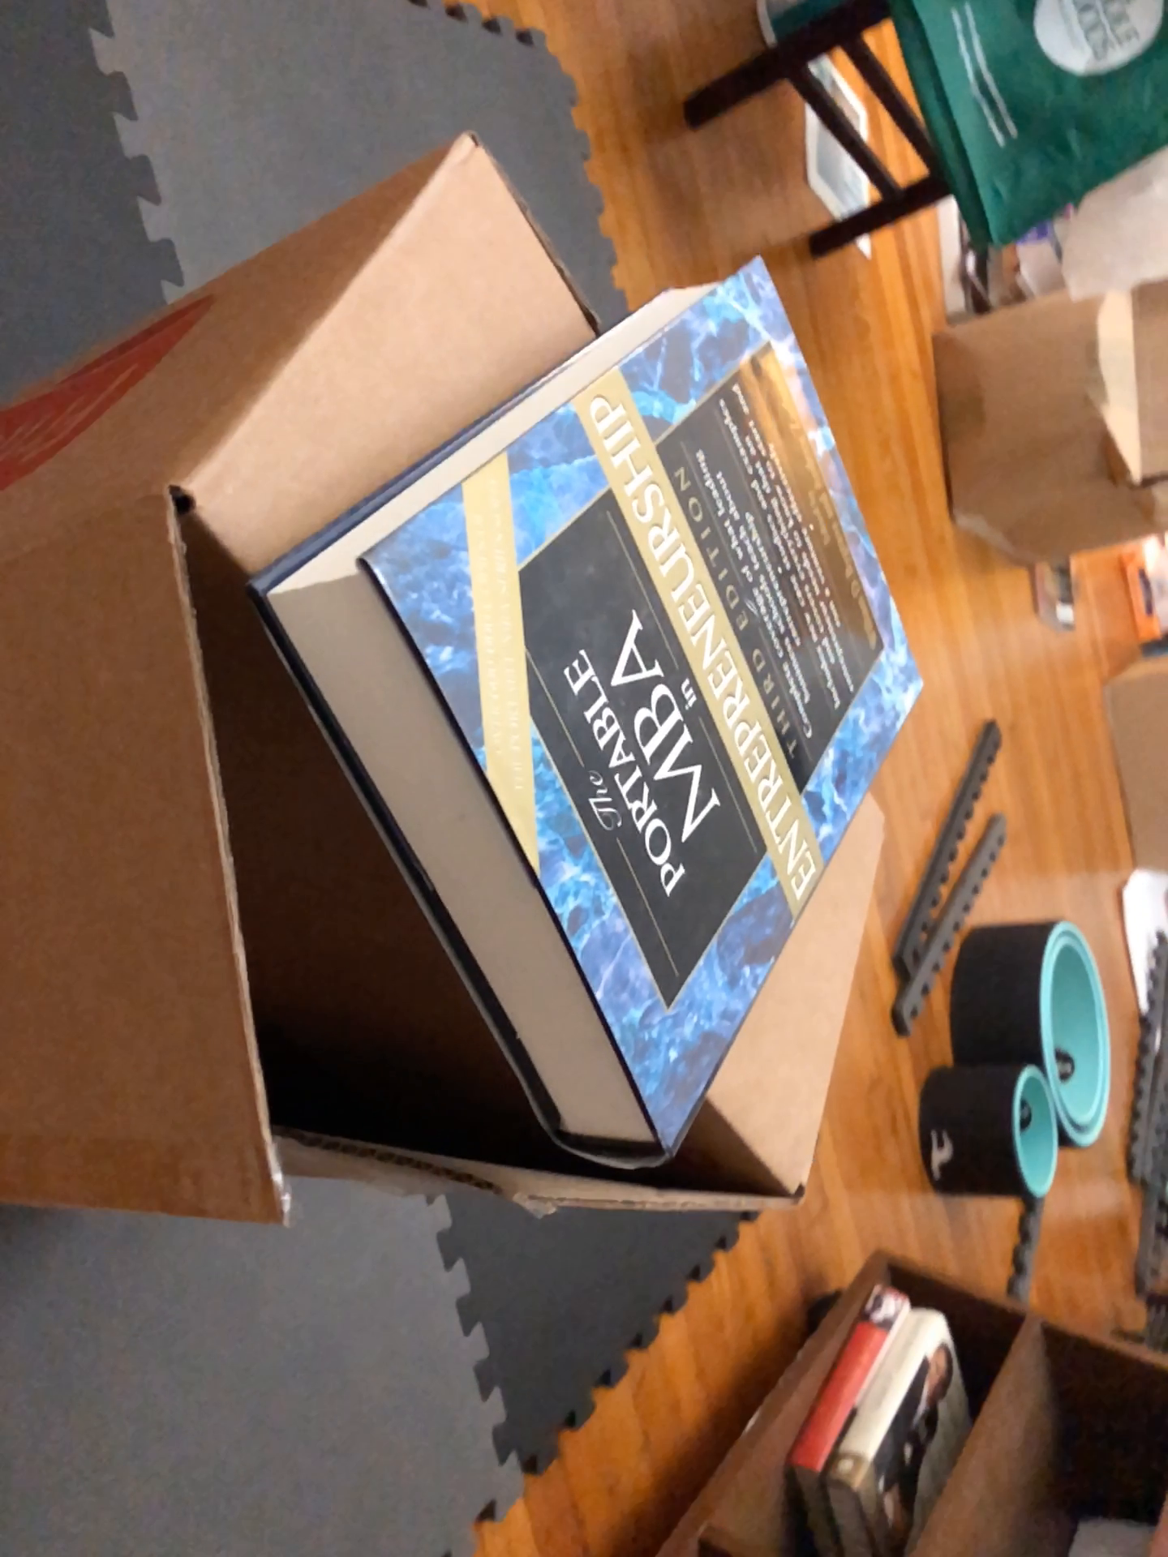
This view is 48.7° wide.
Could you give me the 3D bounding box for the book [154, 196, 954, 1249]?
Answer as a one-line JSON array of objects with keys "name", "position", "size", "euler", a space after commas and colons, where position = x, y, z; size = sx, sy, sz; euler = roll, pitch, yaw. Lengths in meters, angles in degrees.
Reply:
[{"name": "book", "position": [0.029, -0.036, 0.404], "size": [0.210, 0.060, 0.271], "euler": [63, 37, -23]}]
